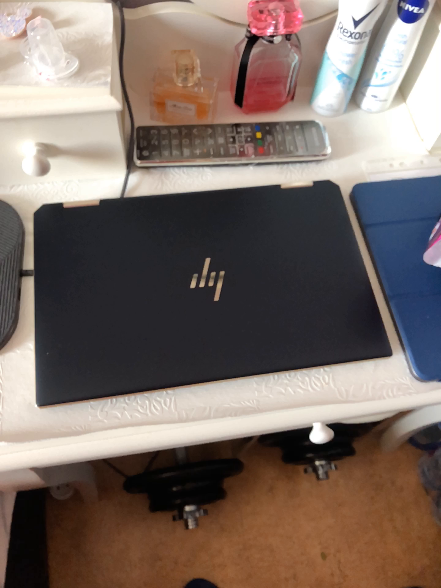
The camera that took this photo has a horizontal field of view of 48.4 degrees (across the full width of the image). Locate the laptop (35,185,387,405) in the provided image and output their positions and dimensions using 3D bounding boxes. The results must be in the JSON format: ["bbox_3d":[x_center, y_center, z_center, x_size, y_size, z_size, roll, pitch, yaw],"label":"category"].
[{"bbox_3d":[-0.006,-0.012,0.401,0.267,0.007,0.161,-6,69,-14],"label":"laptop"}]
